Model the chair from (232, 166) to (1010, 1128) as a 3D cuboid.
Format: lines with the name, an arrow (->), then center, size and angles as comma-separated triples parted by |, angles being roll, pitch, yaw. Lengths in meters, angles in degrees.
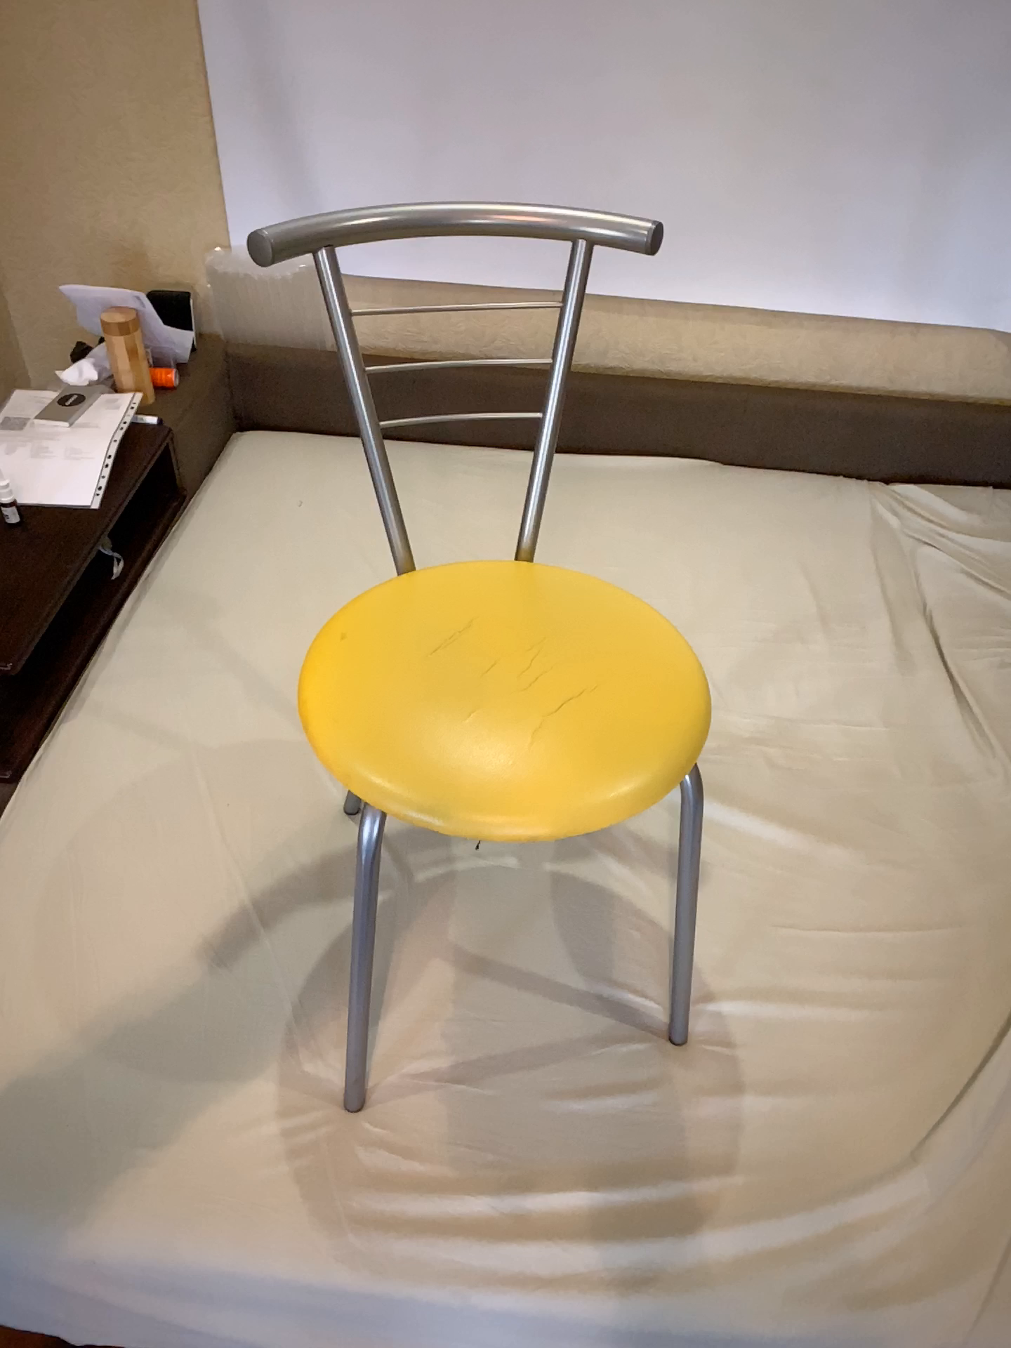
chair -> 0.021, -0.015, 1.028 | 0.460, 0.763, 0.504 | -7, 42, -10
